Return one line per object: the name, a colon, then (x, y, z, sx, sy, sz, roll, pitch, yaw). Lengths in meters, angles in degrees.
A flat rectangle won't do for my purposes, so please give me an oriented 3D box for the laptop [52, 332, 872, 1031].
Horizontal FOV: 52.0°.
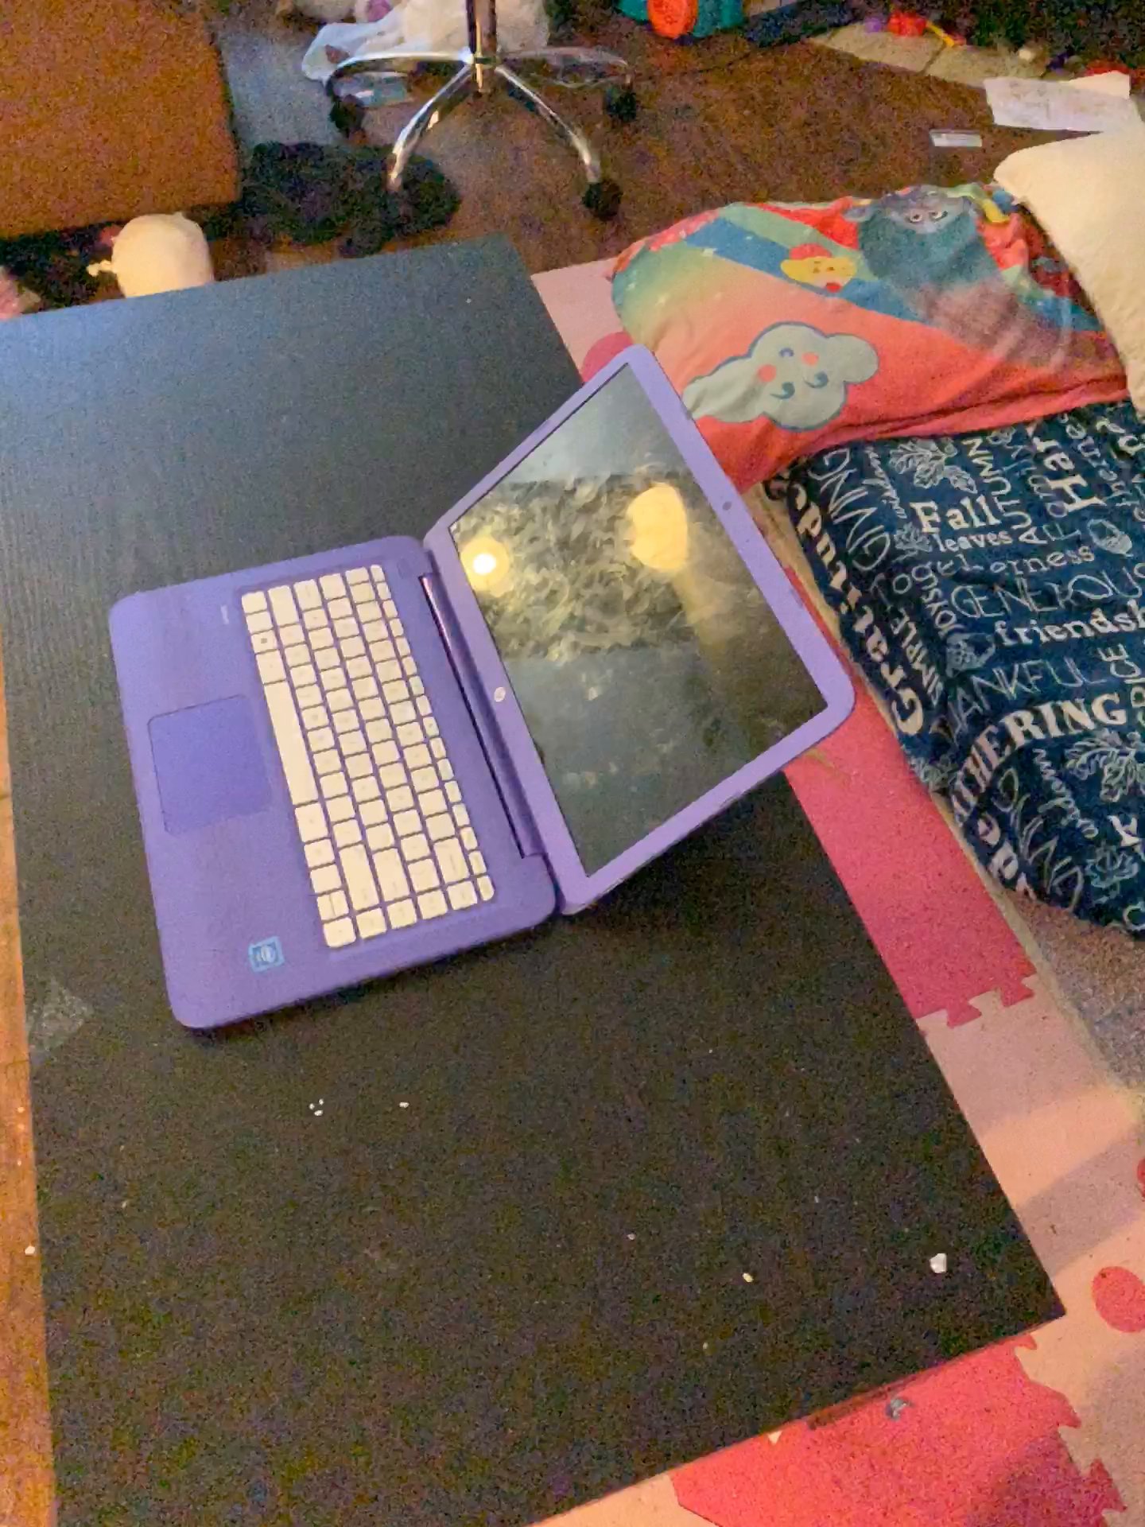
laptop: (-0.084, -0.074, 0.732, 0.397, 0.132, 0.341, -16, 57, -11)
